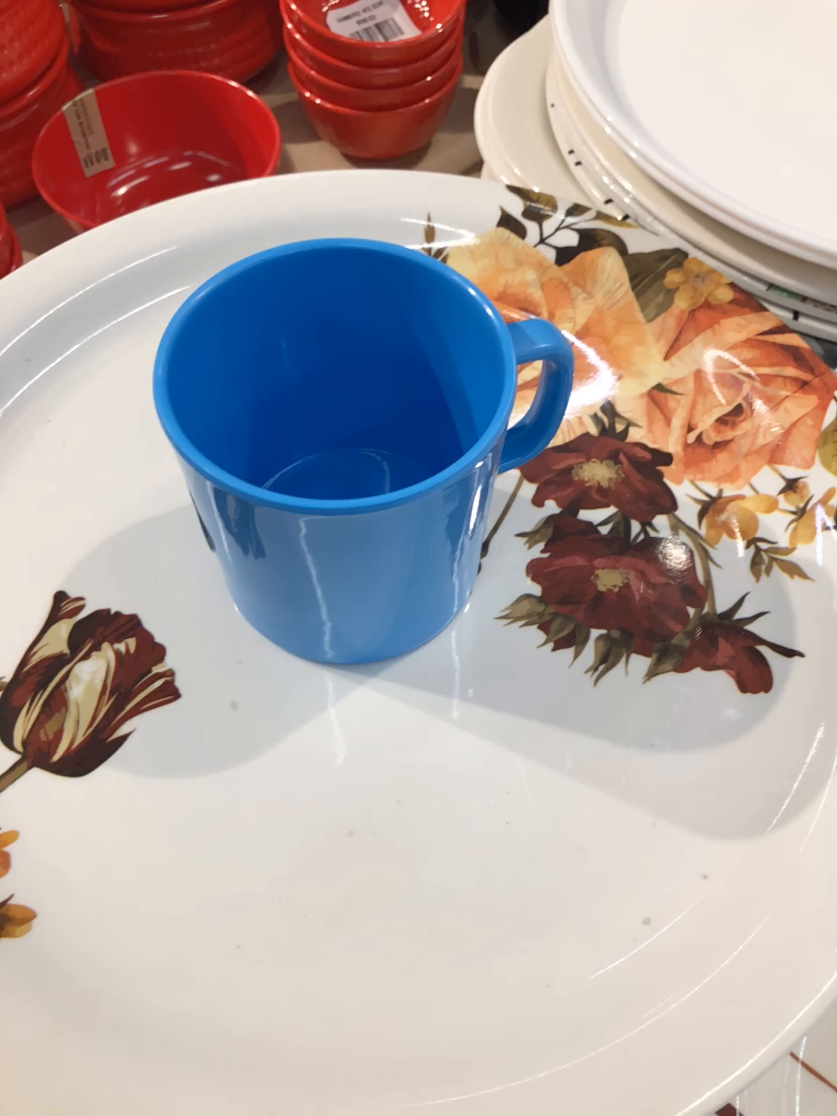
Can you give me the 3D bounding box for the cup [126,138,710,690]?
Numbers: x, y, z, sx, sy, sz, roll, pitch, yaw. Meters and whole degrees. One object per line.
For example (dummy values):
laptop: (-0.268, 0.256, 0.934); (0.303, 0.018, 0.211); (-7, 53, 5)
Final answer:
cup: (-0.002, -0.034, 0.248); (0.110, 0.090, 0.080); (-18, 63, -8)
